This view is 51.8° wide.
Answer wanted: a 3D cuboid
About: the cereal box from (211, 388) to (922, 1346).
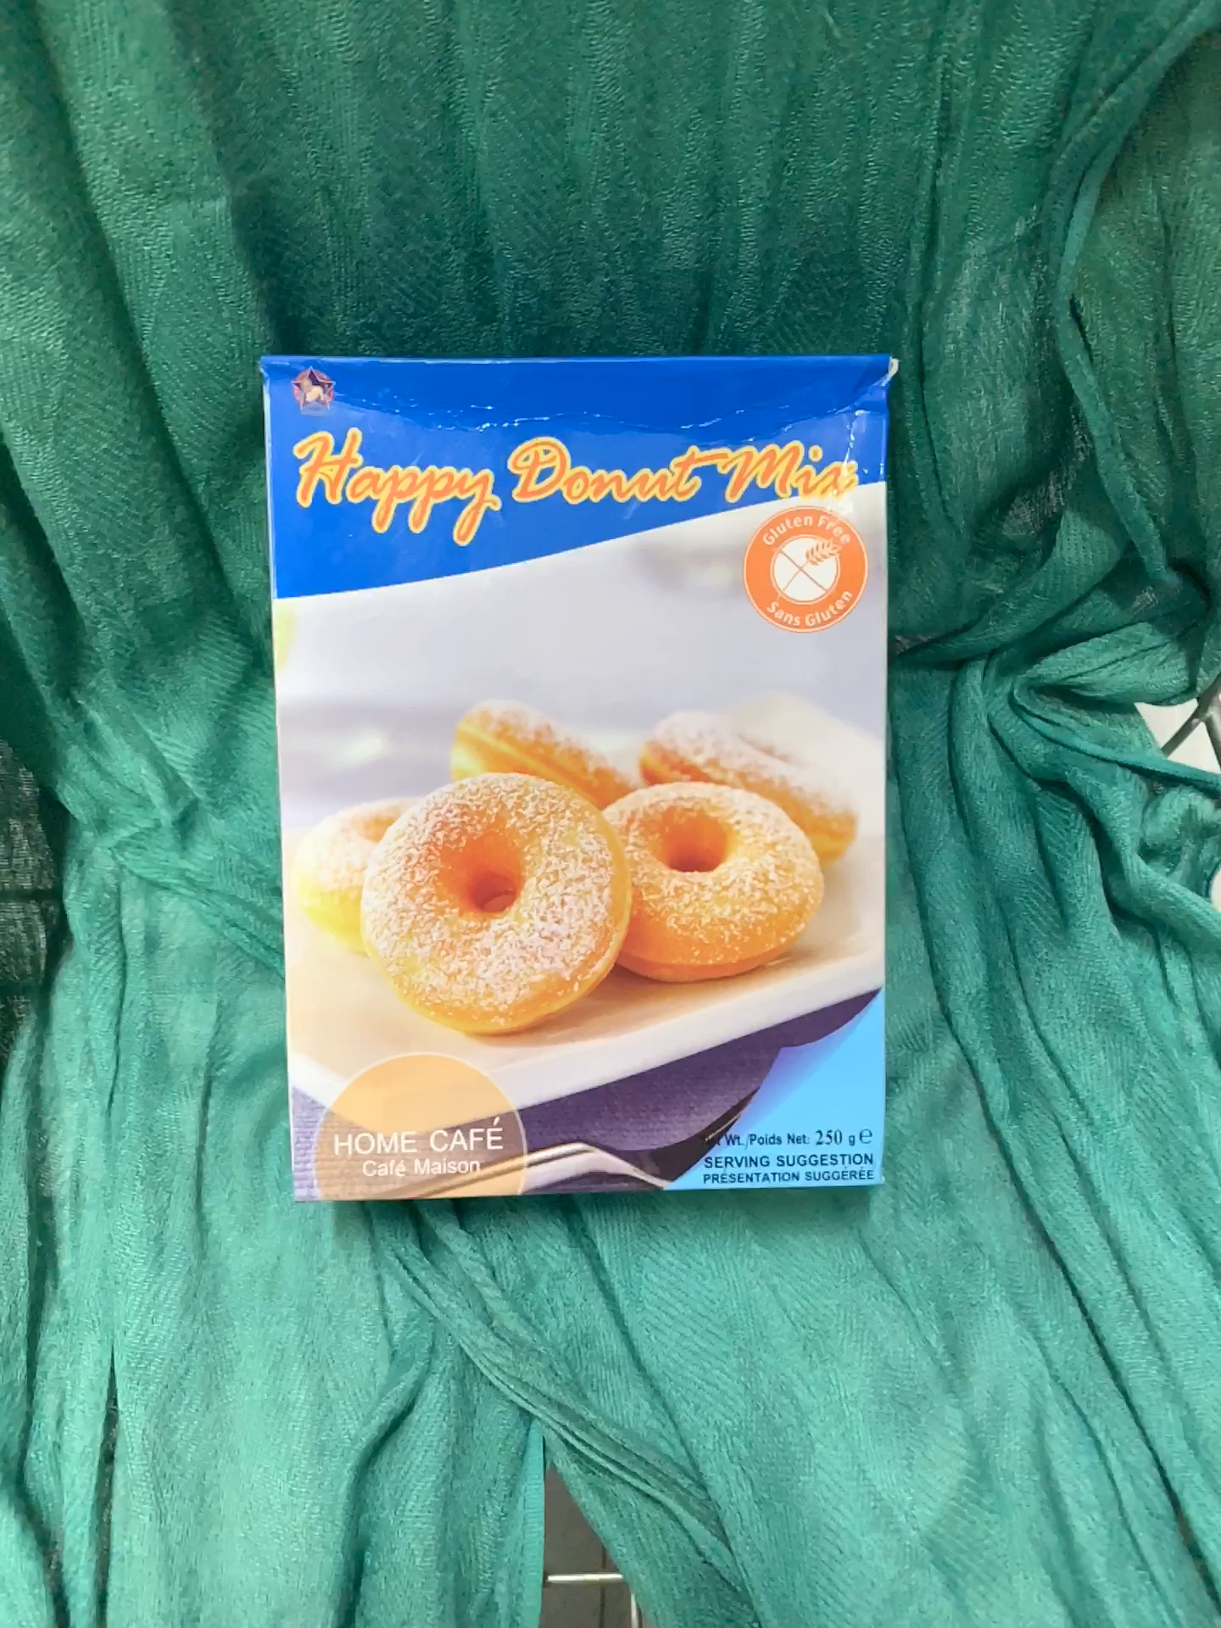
[{"bbox_3d":[-0.007,0.009,0.268,0.130,0.060,0.180,-1,96,-4],"label":"cereal box"}]
